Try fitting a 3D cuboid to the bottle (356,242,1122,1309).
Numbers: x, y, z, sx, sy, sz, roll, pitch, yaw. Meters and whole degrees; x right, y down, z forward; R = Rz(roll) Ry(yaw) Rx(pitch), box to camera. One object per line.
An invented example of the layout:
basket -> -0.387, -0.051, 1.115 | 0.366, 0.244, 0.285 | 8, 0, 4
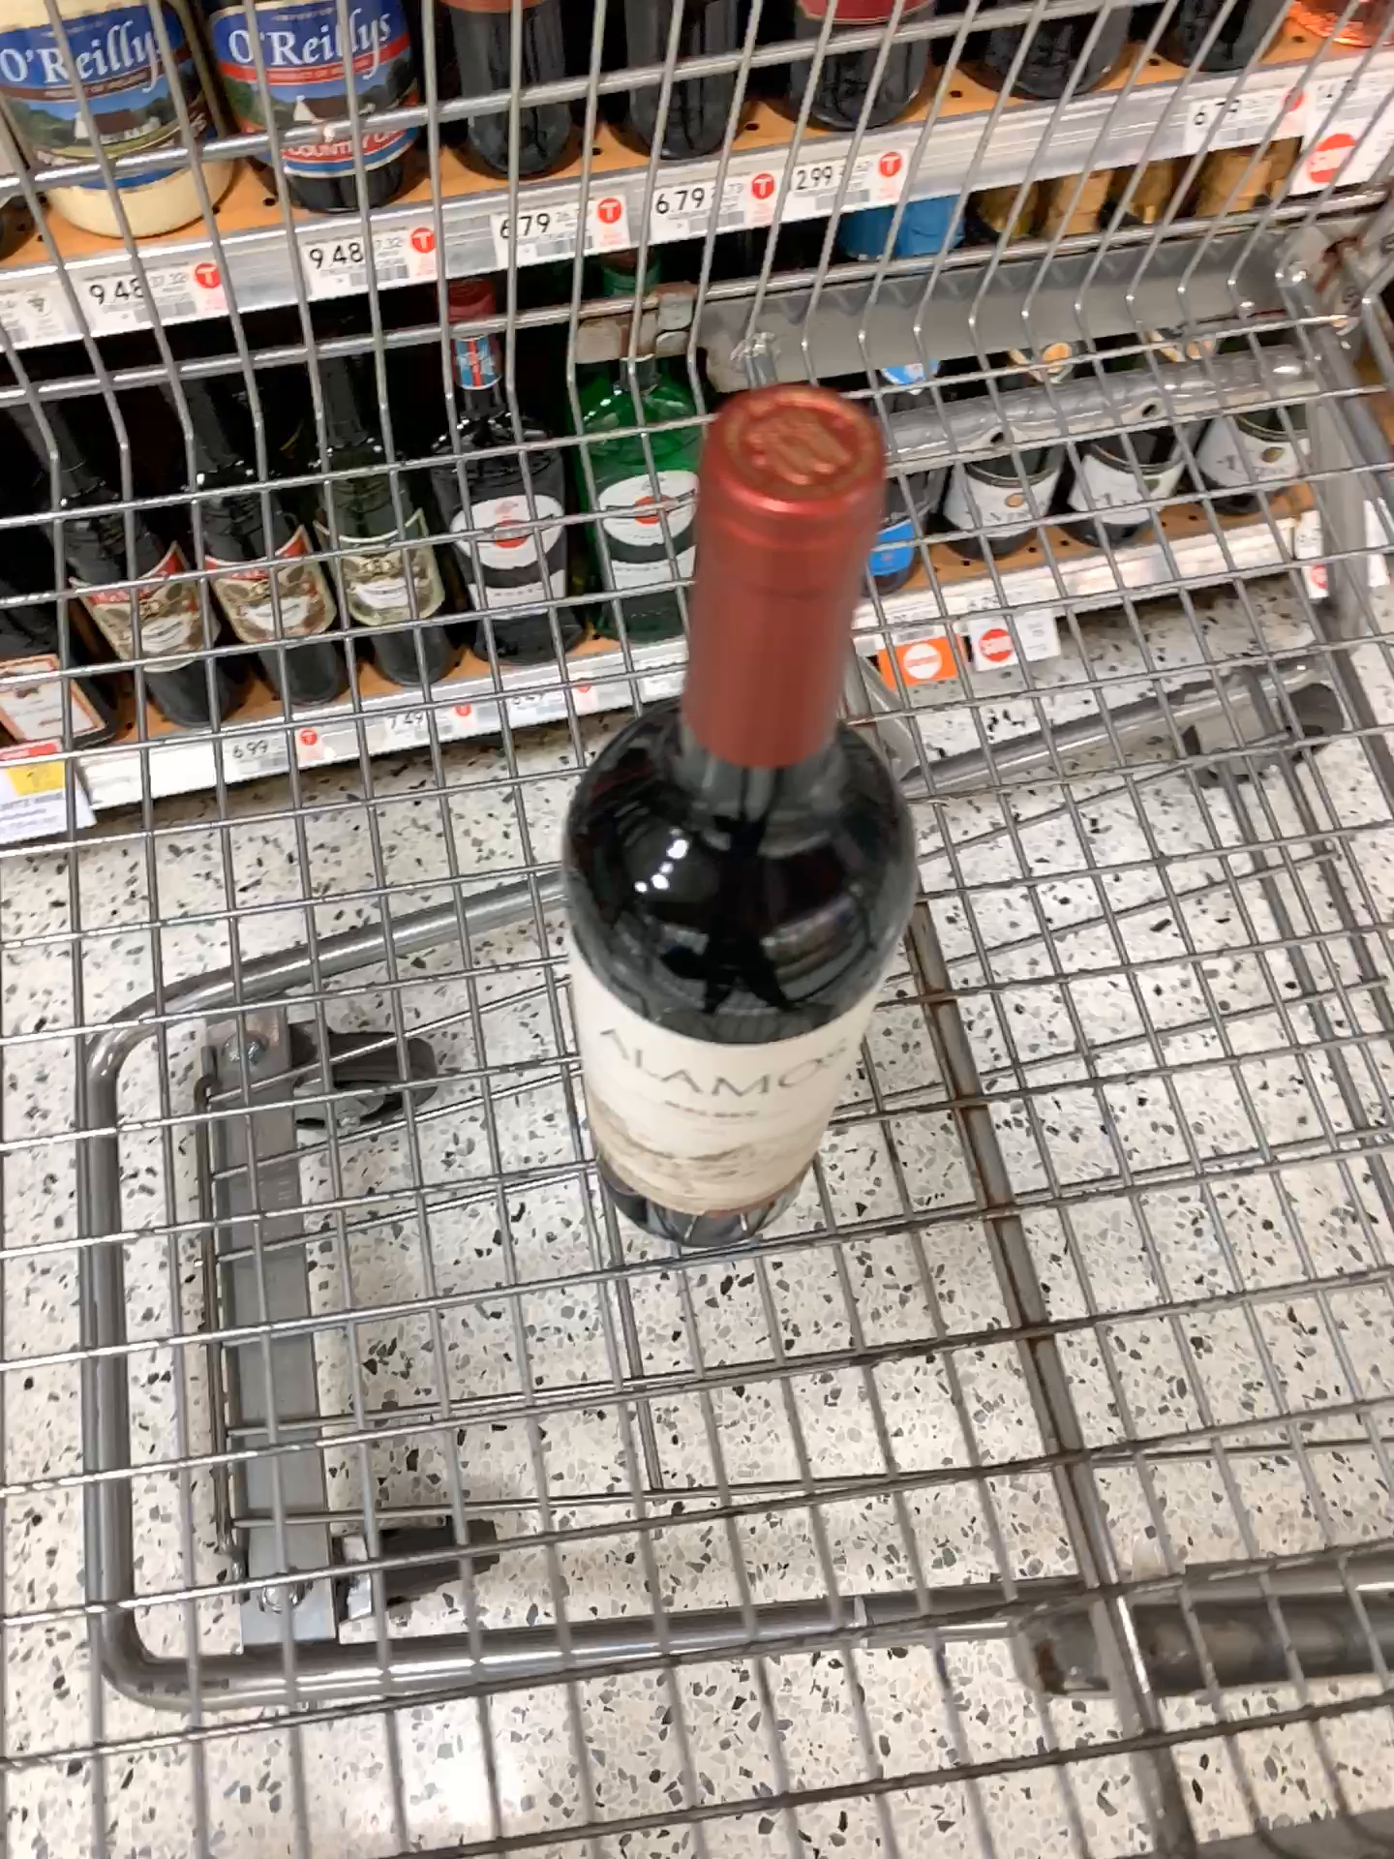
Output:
bottle -> 0.007, 0.007, 0.323 | 0.090, 0.298, 0.080 | 10, 64, 4
